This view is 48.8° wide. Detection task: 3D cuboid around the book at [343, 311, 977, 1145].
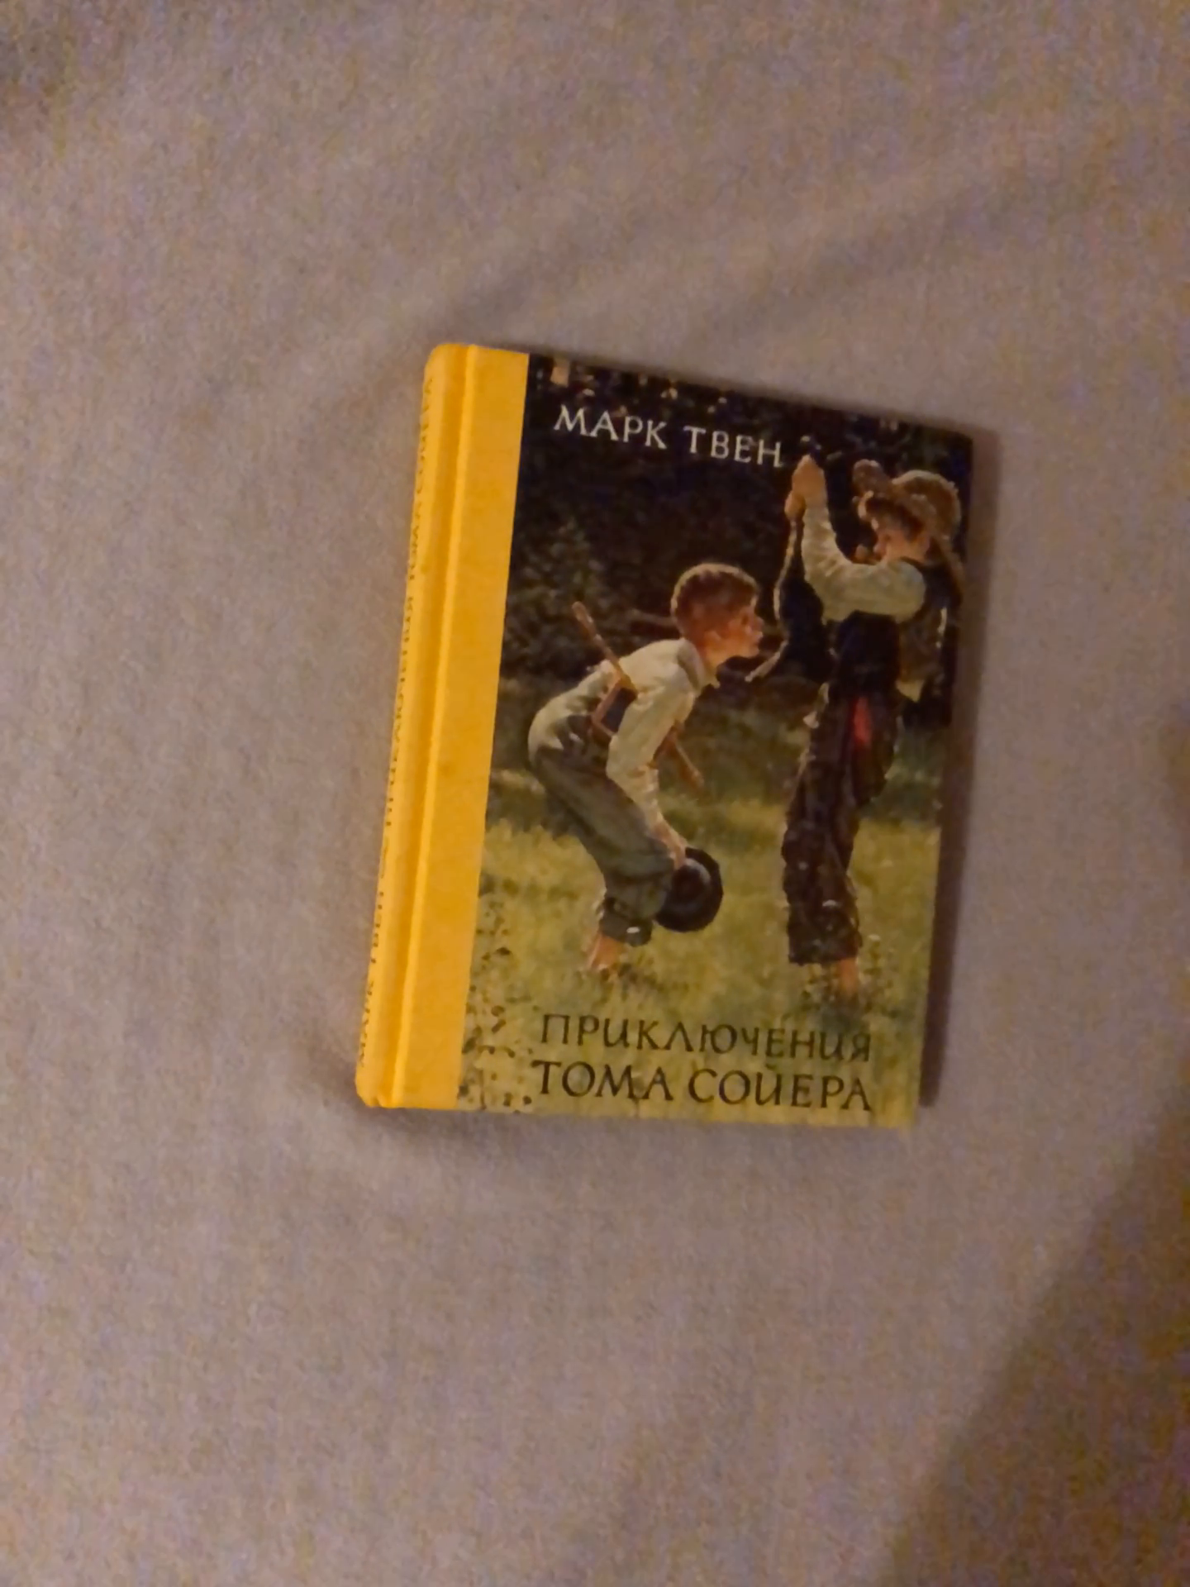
[{"bbox_3d":[0.023,-0.014,0.395,0.171,0.030,0.224,6,86,-14],"label":"book"}]
